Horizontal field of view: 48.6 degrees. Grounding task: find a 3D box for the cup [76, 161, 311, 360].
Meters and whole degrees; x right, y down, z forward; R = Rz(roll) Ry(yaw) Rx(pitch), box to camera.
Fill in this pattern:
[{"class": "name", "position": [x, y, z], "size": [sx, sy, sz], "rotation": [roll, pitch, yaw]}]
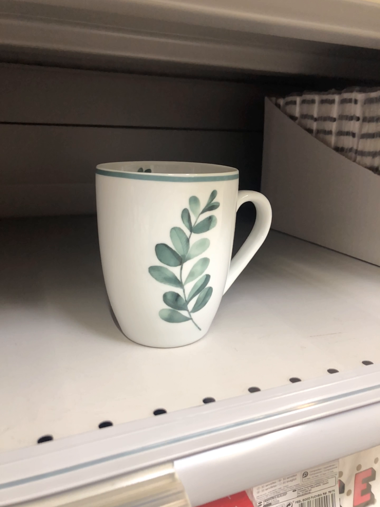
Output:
[{"class": "cup", "position": [-0.004, -0.006, 0.259], "size": [0.117, 0.093, 0.082], "rotation": [-4, 17, -20]}]
